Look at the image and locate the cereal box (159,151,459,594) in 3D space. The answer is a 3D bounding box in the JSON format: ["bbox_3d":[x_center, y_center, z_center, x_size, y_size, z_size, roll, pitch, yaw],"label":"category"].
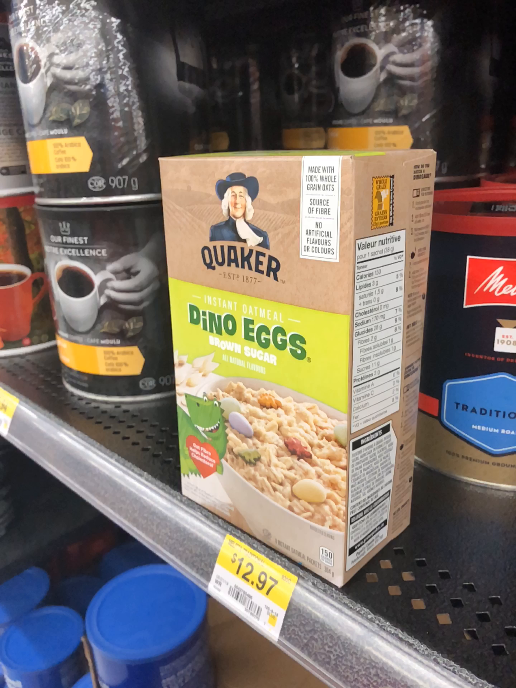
[{"bbox_3d":[0.021,0.002,0.312,0.130,0.199,0.070,16,24,42],"label":"cereal box"}]
